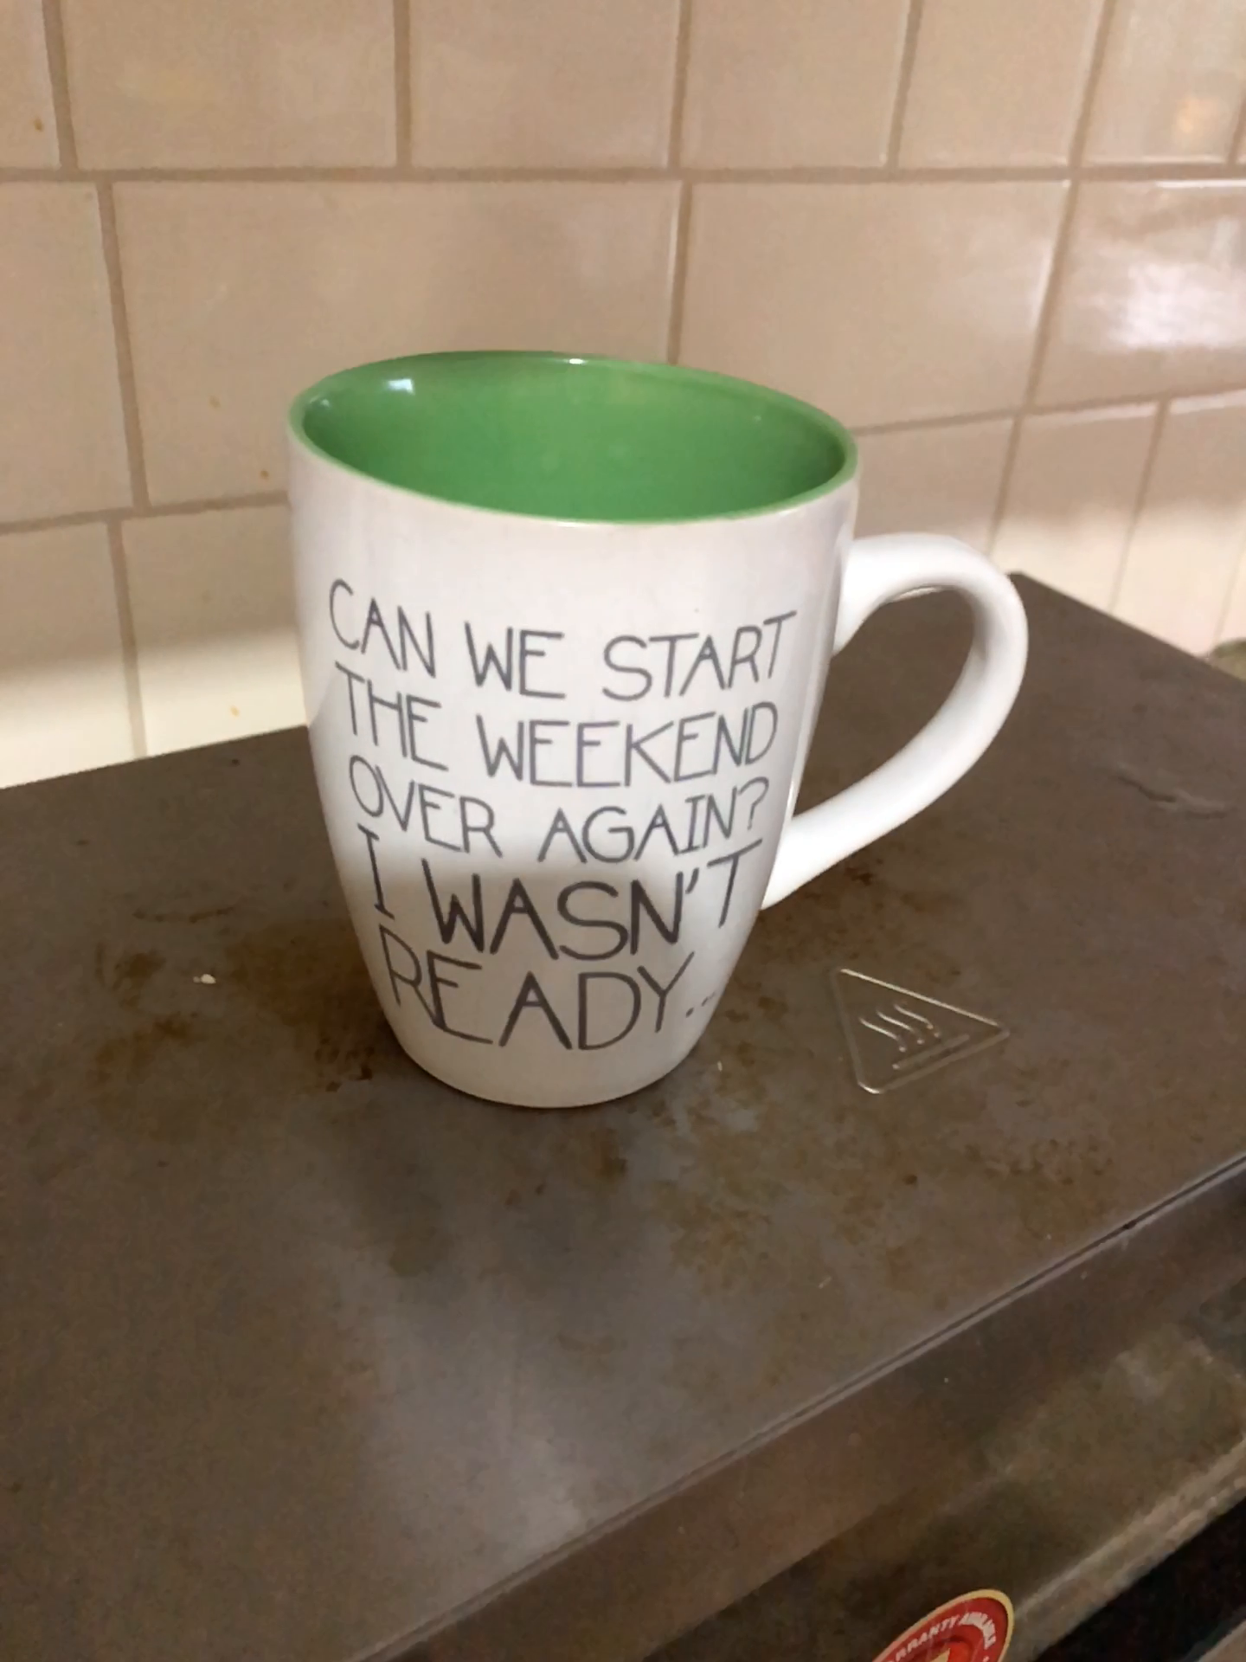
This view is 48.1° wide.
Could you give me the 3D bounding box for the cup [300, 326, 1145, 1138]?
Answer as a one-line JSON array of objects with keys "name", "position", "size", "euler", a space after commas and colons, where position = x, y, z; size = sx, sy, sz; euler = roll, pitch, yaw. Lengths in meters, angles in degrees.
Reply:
[{"name": "cup", "position": [0.006, -0.018, 0.233], "size": [0.110, 0.109, 0.070], "euler": [-2, 31, -10]}]
